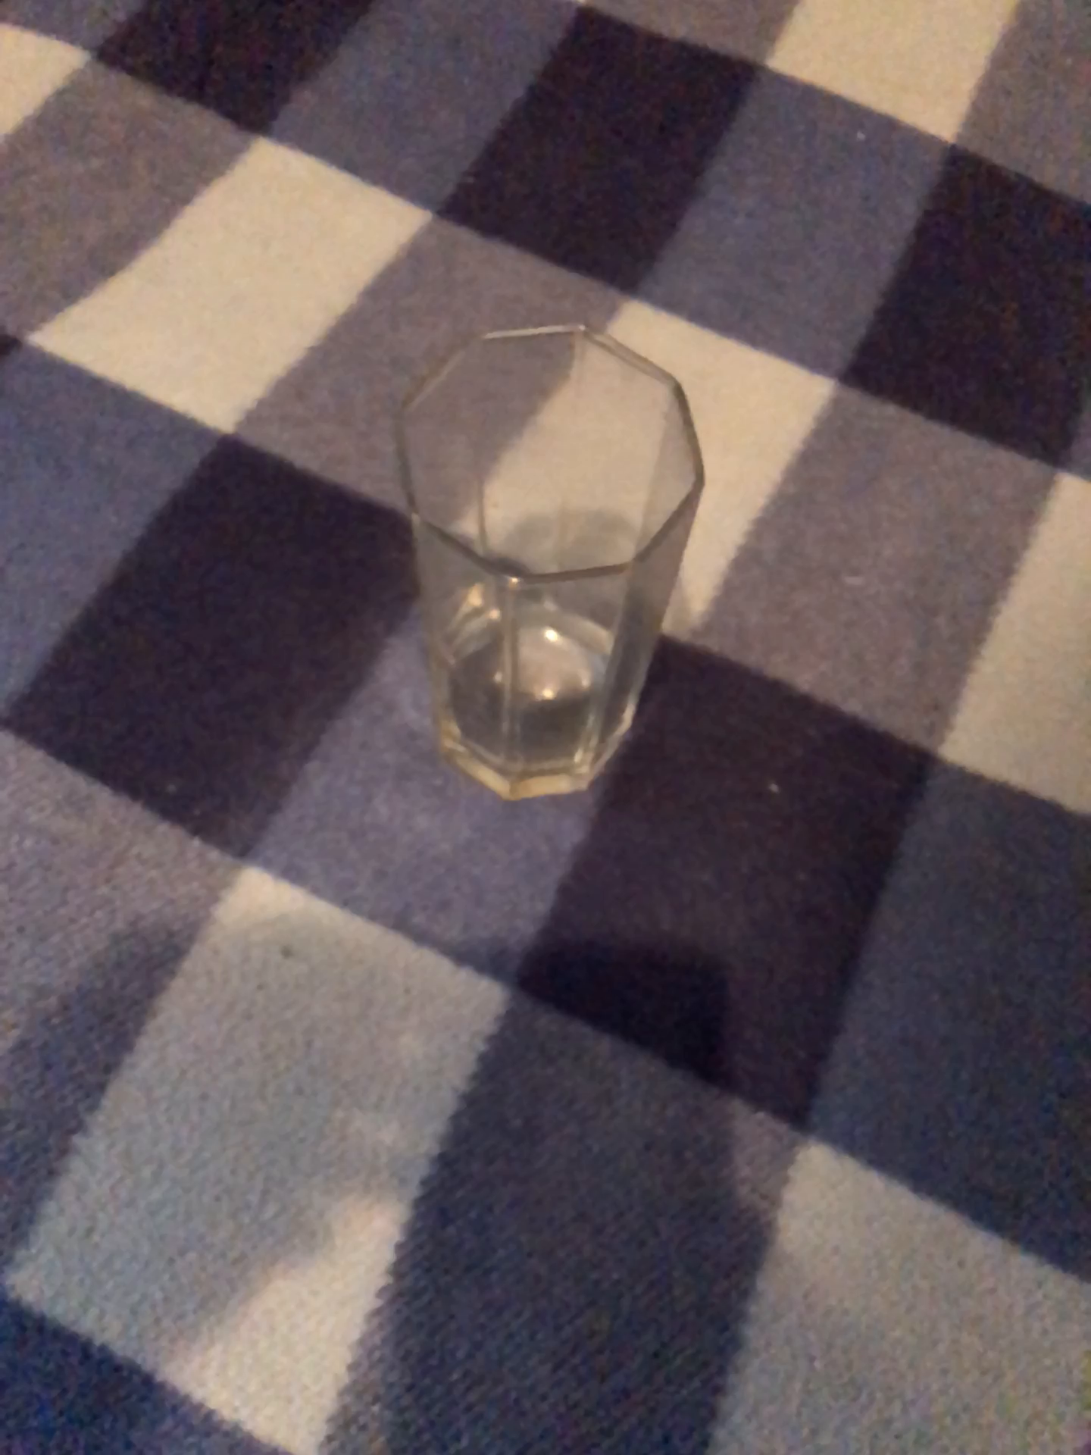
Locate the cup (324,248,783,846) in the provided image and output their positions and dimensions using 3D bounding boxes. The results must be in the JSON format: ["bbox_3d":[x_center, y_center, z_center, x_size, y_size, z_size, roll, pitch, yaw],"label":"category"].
[{"bbox_3d":[-0.004,-0.040,0.332,0.077,0.137,0.082,1,65,-3],"label":"cup"}]
